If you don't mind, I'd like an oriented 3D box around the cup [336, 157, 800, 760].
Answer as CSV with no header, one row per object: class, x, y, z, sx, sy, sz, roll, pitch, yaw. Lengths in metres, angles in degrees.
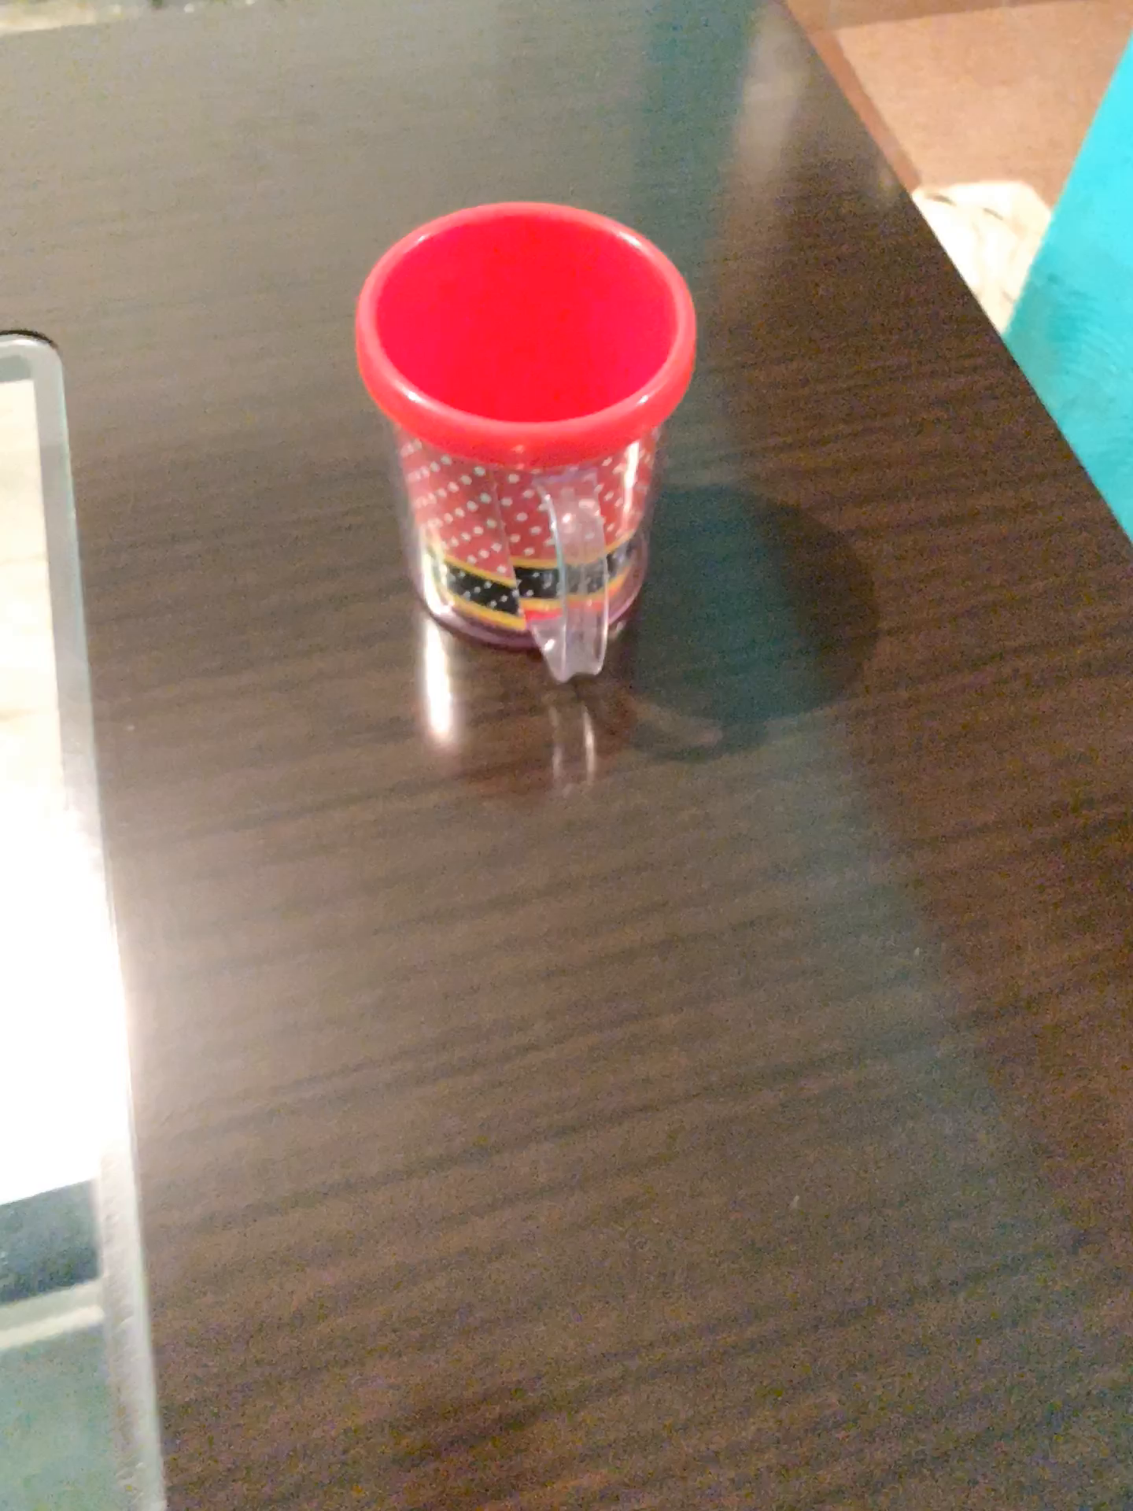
cup,-0.005,-0.087,0.355,0.090,0.110,0.120,-15,61,-10
